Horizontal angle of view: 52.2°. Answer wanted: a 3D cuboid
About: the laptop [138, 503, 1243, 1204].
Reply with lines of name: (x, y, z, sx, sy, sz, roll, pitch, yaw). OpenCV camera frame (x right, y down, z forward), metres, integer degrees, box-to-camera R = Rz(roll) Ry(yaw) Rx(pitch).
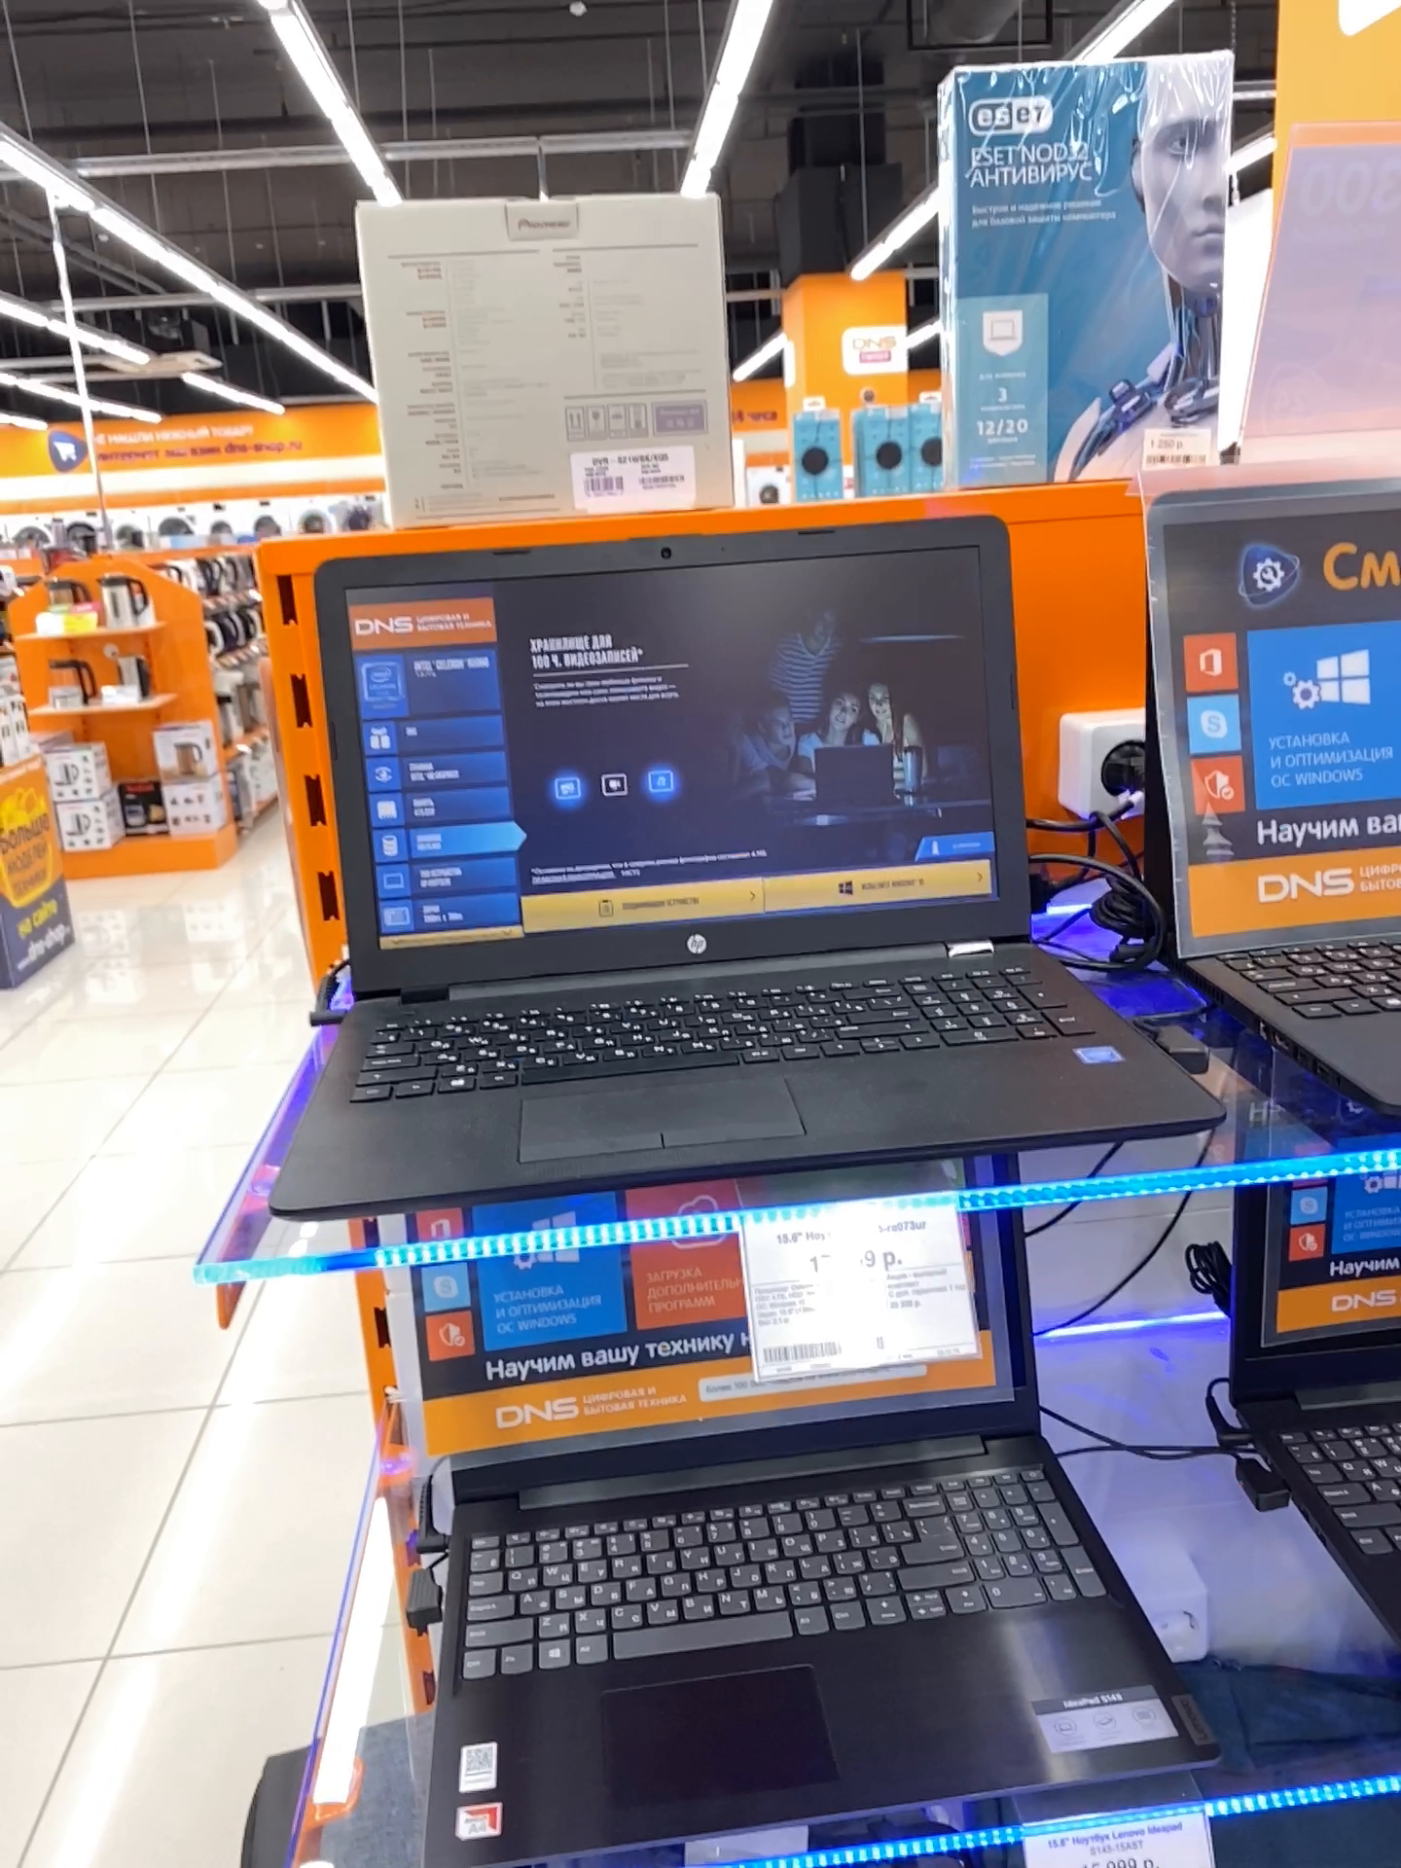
laptop: (-0.011, -0.067, 0.685, 0.388, 0.235, 0.323, -5, 15, -4)
